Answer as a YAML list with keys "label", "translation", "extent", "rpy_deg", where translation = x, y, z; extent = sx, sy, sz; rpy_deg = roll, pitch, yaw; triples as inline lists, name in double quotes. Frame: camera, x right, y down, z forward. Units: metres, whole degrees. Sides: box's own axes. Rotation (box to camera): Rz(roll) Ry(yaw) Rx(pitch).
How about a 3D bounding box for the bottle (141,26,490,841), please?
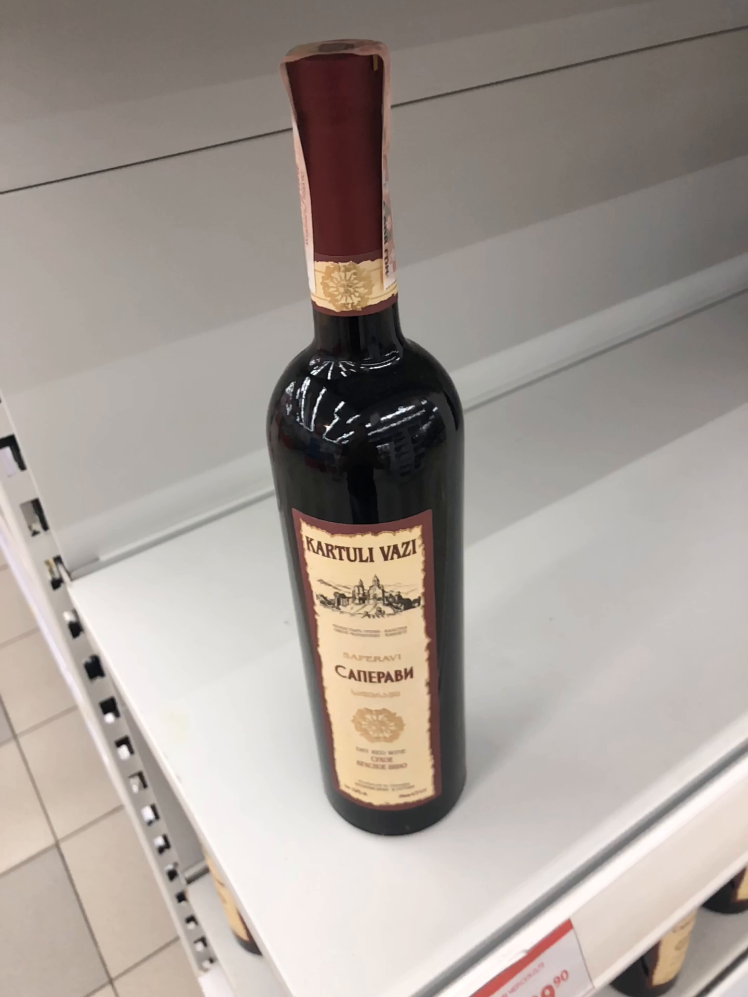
- label: "bottle"
  translation: [-0.001, 0.006, 0.301]
  extent: [0.079, 0.299, 0.069]
  rpy_deg: [1, 37, 8]
